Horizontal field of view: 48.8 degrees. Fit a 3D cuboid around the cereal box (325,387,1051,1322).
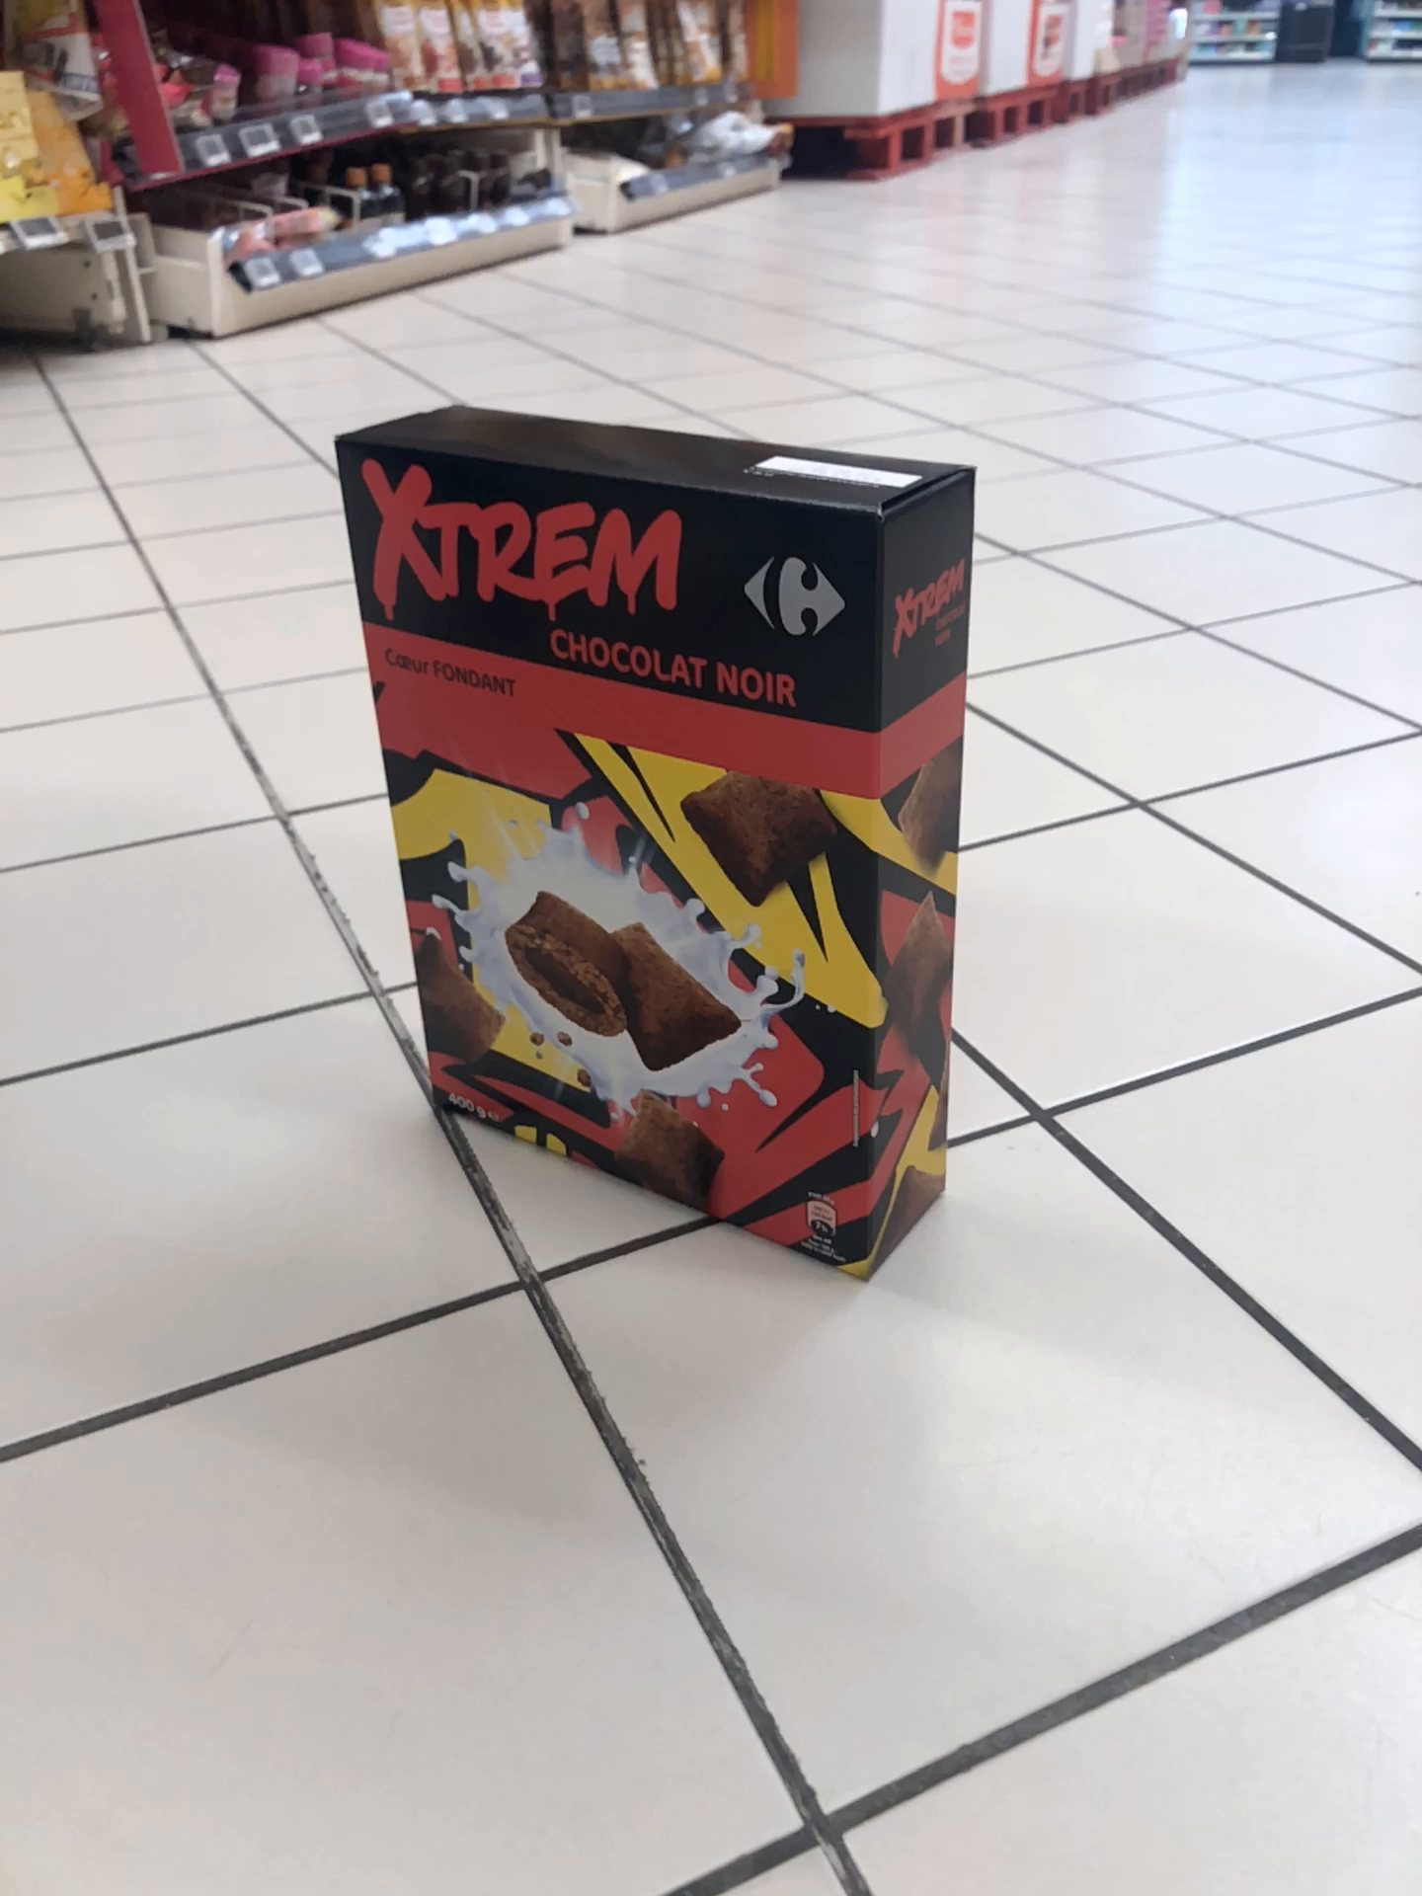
[{"bbox_3d":[-0.009,-0.034,0.499,0.200,0.249,0.070,18,35,31],"label":"cereal box"}]
